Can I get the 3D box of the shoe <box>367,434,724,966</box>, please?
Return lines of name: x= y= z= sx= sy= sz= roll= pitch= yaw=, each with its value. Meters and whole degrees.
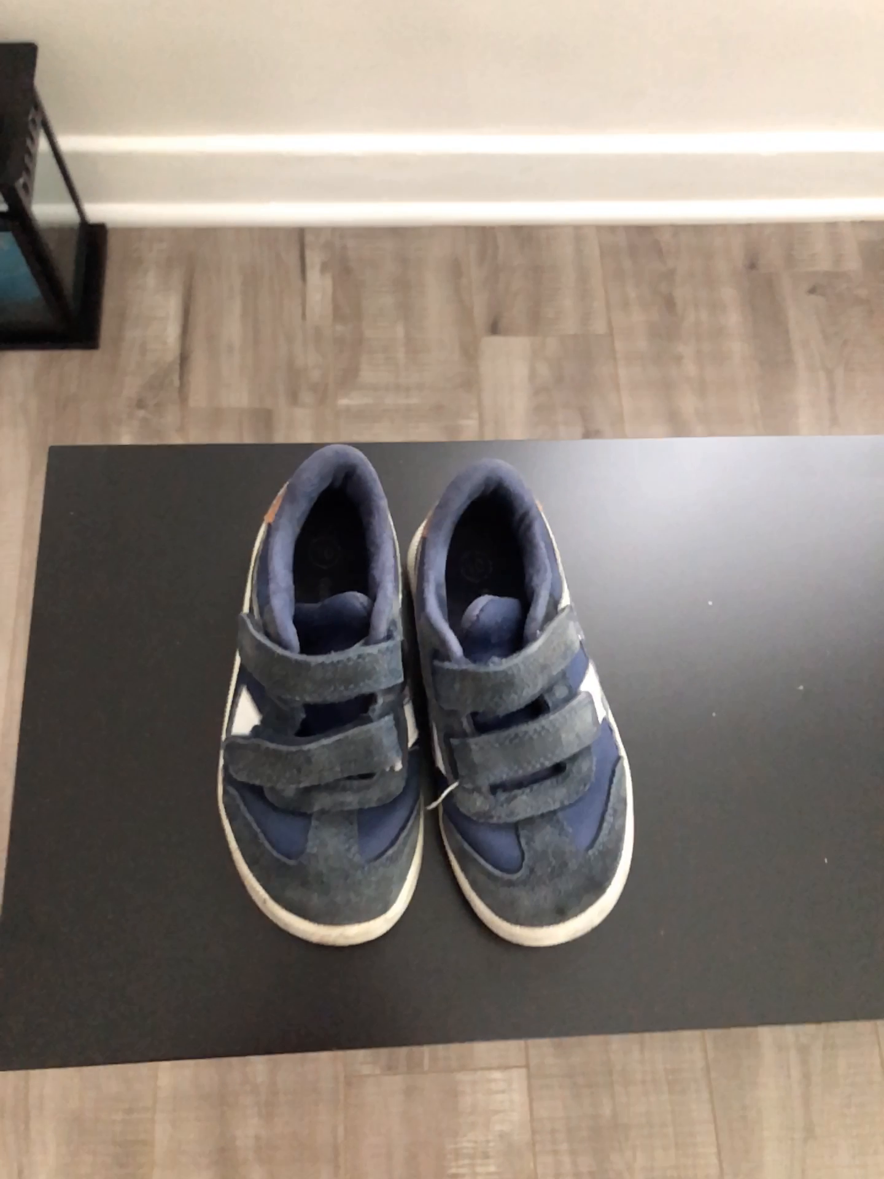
shoe: x=0.031 y=0.042 z=0.389 sx=0.088 sy=0.068 sz=0.185 roll=-10 pitch=71 yaw=-7

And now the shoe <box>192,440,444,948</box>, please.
shoe: x=-0.047 y=0.040 z=0.384 sx=0.082 sy=0.068 sz=0.185 roll=-1 pitch=70 yaw=-4
